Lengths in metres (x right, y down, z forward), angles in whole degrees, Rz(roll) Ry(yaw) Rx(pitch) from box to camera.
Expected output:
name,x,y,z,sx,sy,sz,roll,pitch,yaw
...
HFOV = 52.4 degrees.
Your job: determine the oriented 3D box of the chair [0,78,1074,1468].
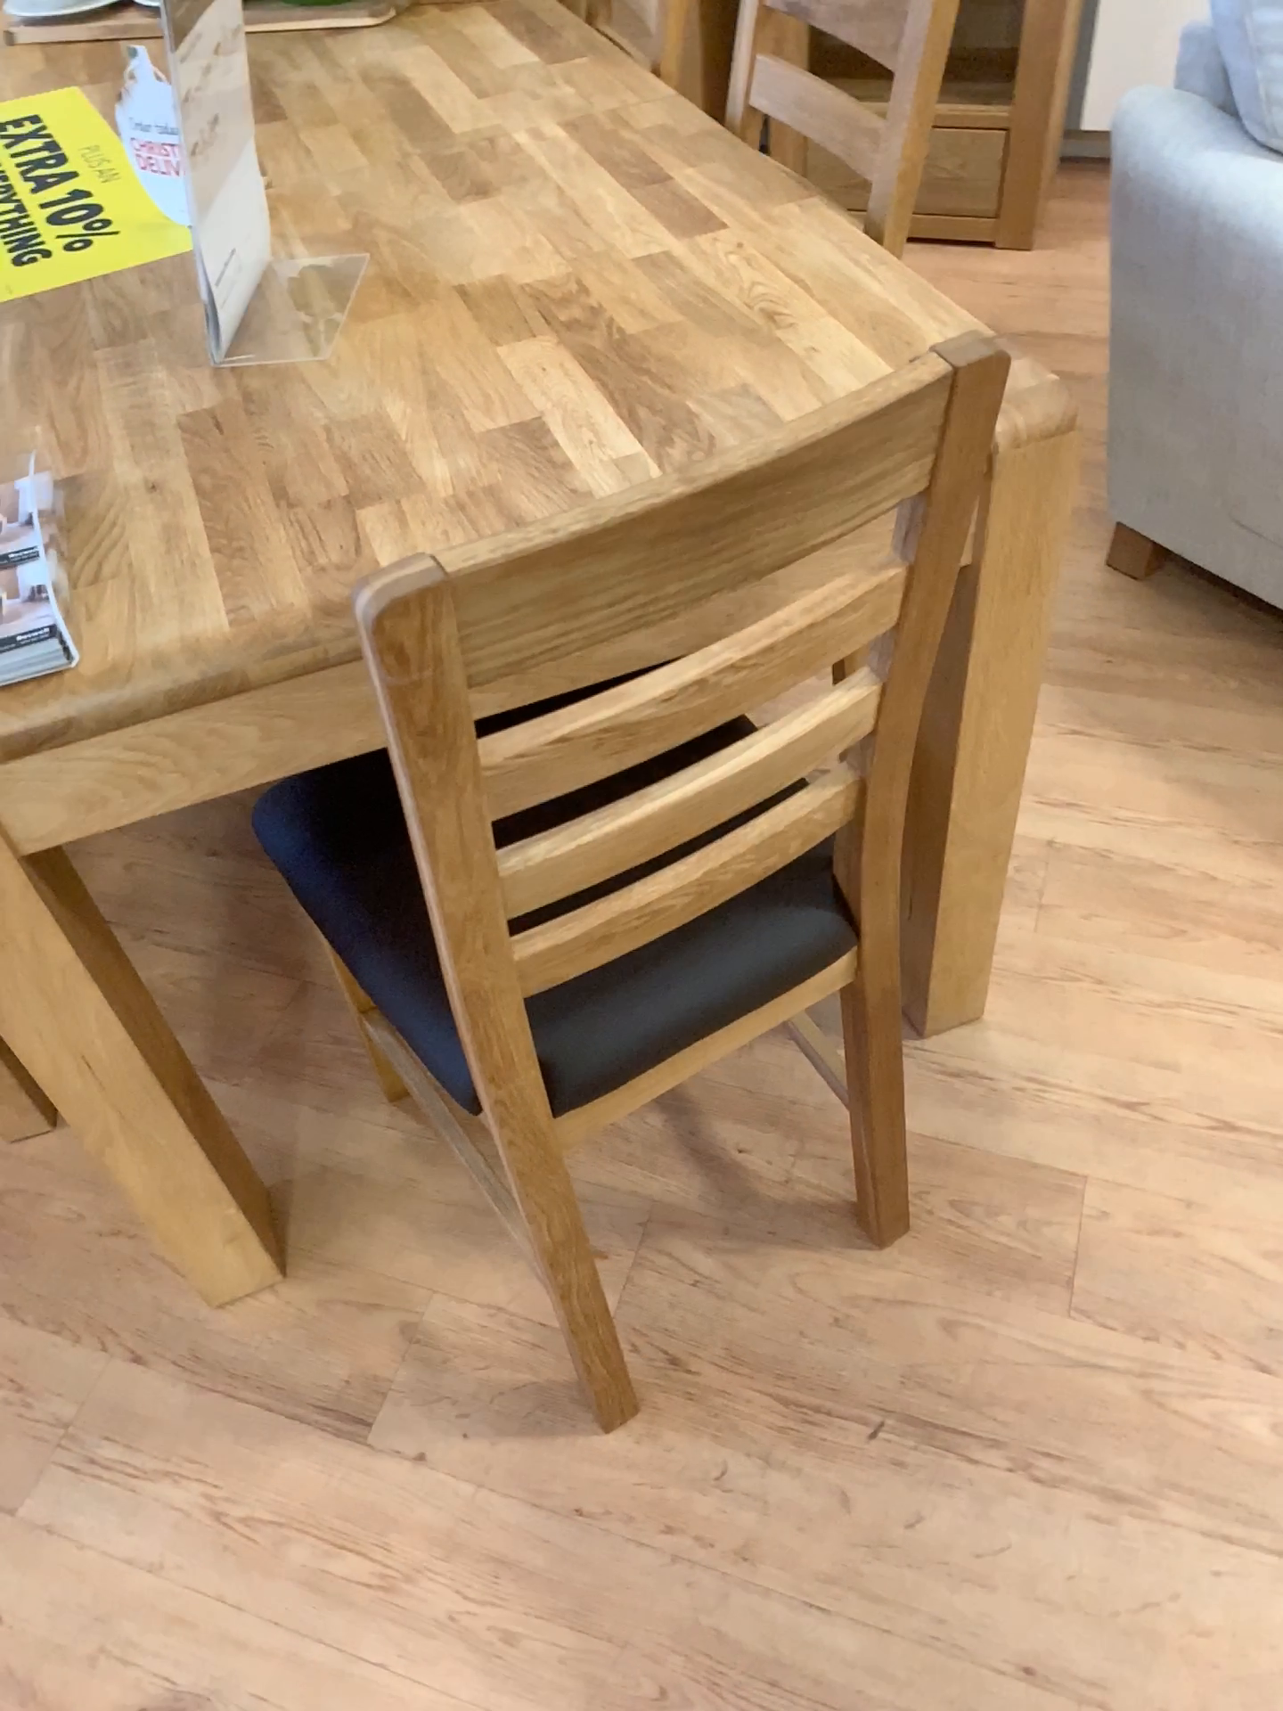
name,x,y,z,sx,sy,sz,roll,pitch,yaw
chair,-0.067,-0.011,1.059,0.422,0.917,0.521,-26,49,-18
